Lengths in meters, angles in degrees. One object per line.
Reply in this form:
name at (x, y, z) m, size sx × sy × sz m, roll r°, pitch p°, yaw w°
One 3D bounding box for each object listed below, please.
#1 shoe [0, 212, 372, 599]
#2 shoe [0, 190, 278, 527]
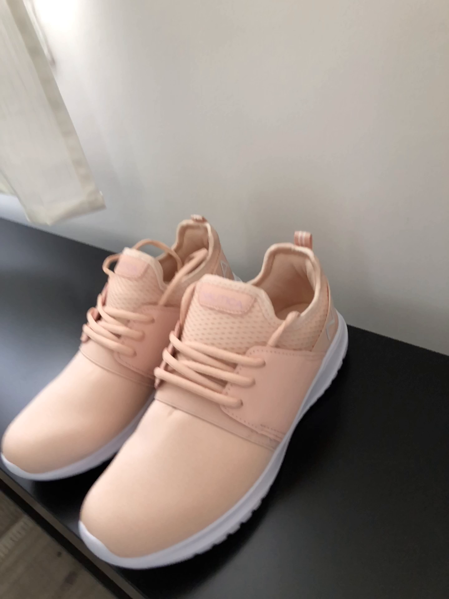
shoe at (-0.003, 0.056, 0.329) m, size 0.100 × 0.109 × 0.240 m, roll 18°, pitch 47°, yaw 36°
shoe at (-0.074, 0.025, 0.398) m, size 0.100 × 0.109 × 0.250 m, roll 18°, pitch 47°, yaw 36°
